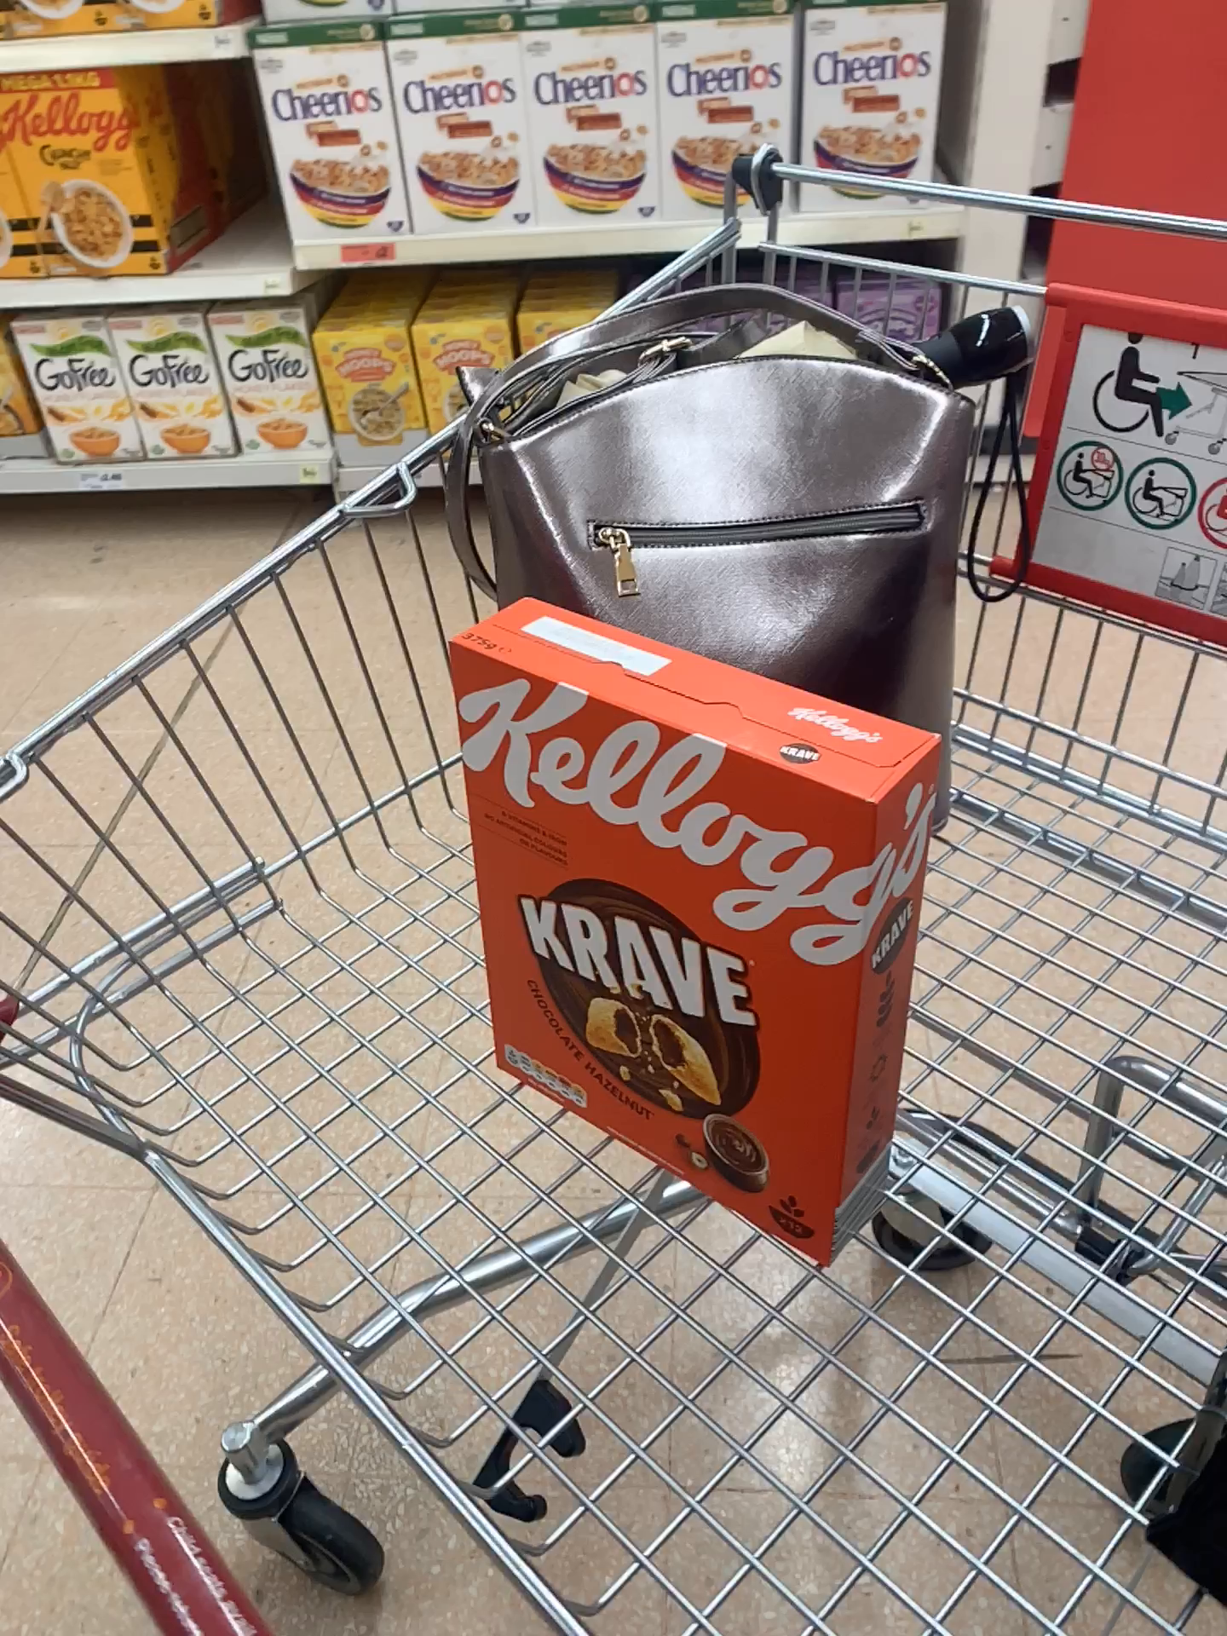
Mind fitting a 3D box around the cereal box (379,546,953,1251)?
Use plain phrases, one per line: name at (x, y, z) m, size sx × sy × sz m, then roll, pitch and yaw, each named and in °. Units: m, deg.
cereal box at (0.013, 0.031, 0.502) m, size 0.211 × 0.228 × 0.050 m, roll 24°, pitch 43°, yaw 31°
